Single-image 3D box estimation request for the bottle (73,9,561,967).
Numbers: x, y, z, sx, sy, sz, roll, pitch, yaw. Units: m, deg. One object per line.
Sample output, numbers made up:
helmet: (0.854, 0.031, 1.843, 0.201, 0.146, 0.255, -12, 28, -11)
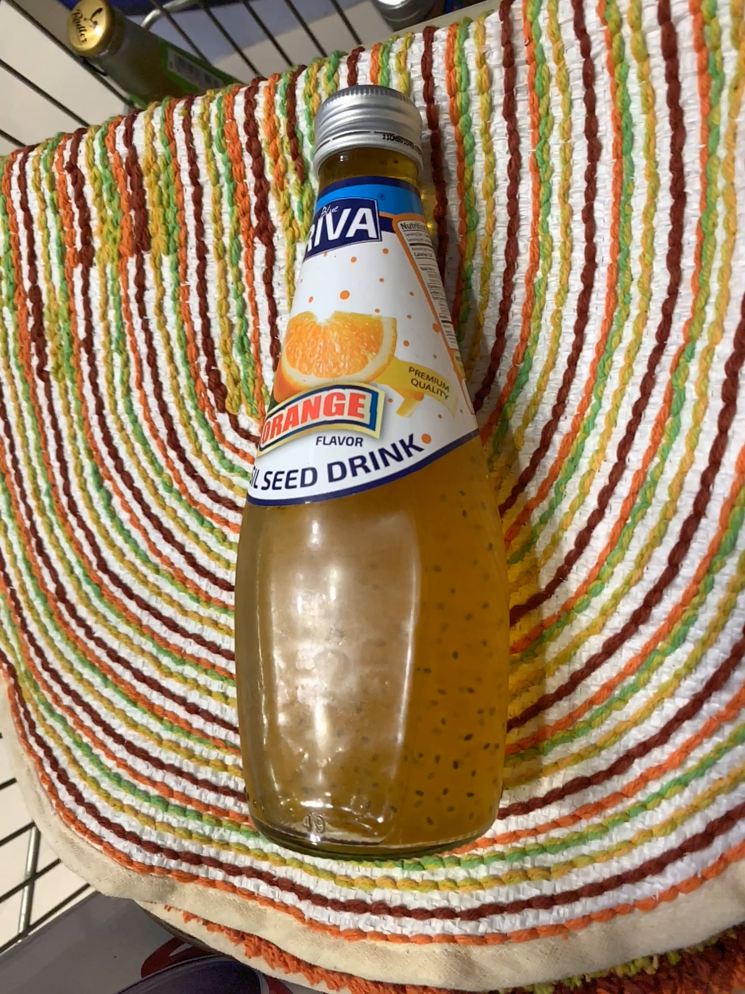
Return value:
bottle: (-0.007, 0.002, 0.166, 0.070, 0.050, 0.160, -3, 97, 27)
